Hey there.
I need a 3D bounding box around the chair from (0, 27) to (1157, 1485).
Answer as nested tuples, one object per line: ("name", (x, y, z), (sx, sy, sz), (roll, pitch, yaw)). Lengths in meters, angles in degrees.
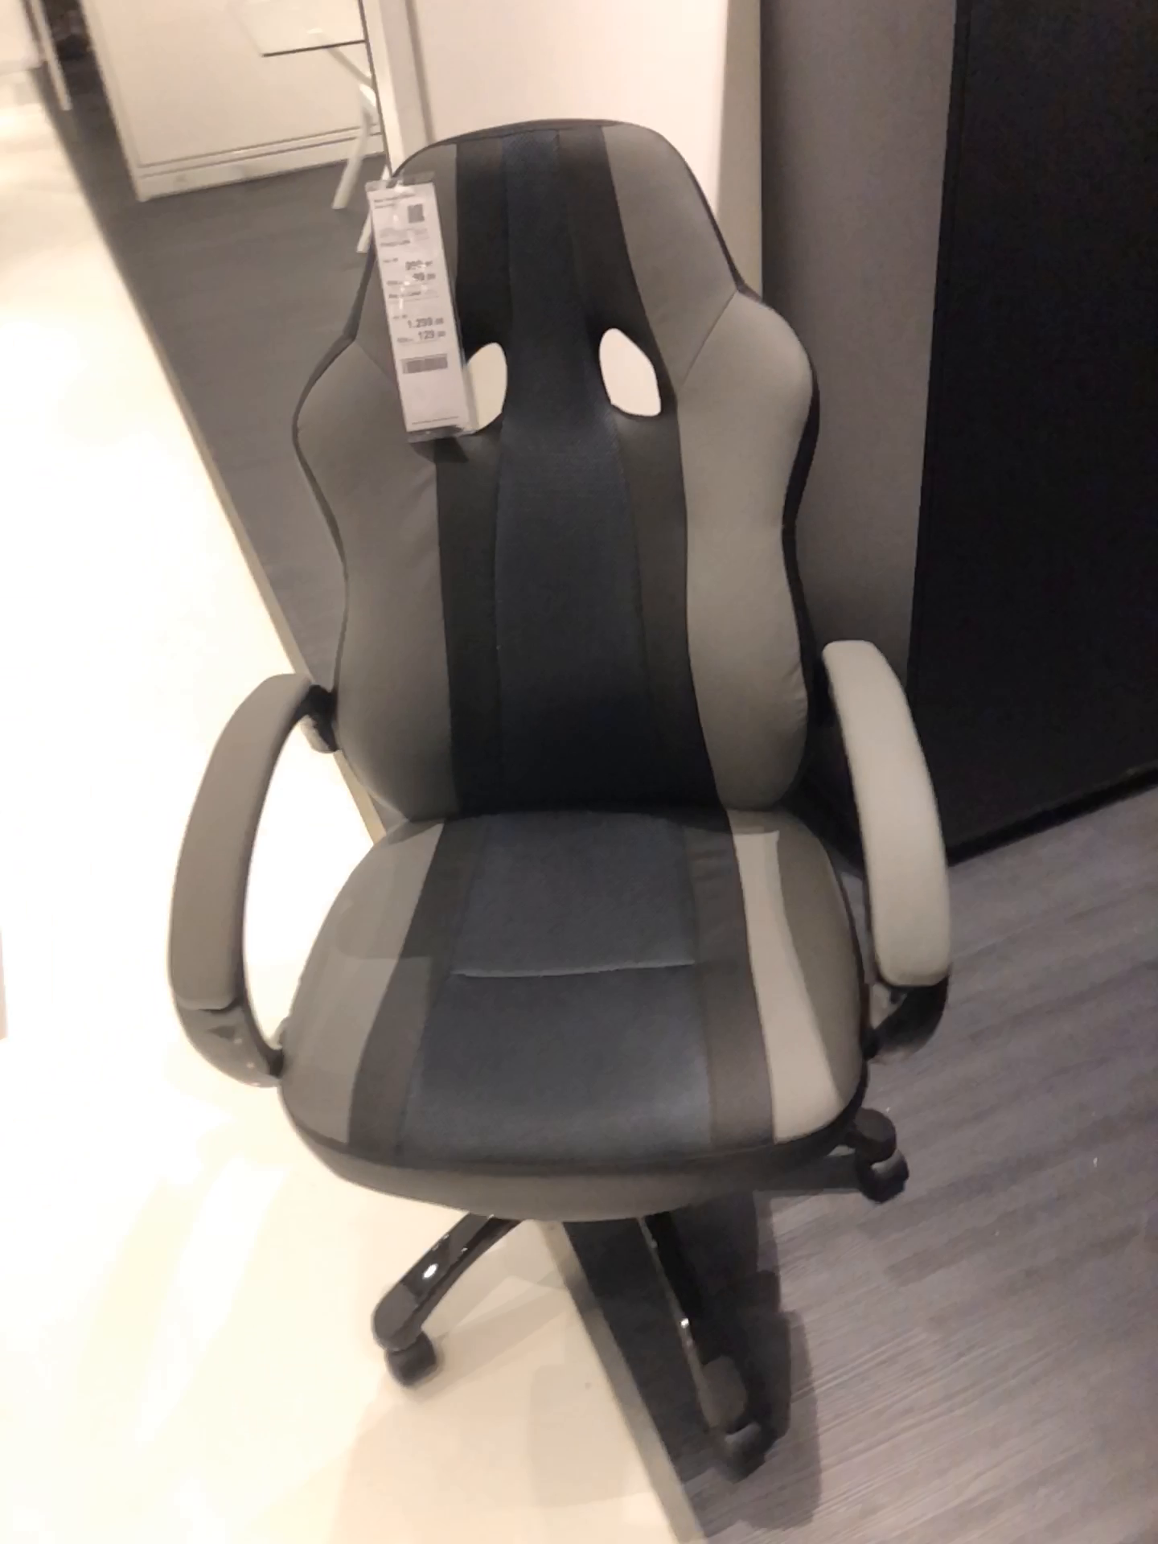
("chair", (0.004, 0.024, 1.262), (0.710, 1.161, 0.786), (-2, 38, 7))
